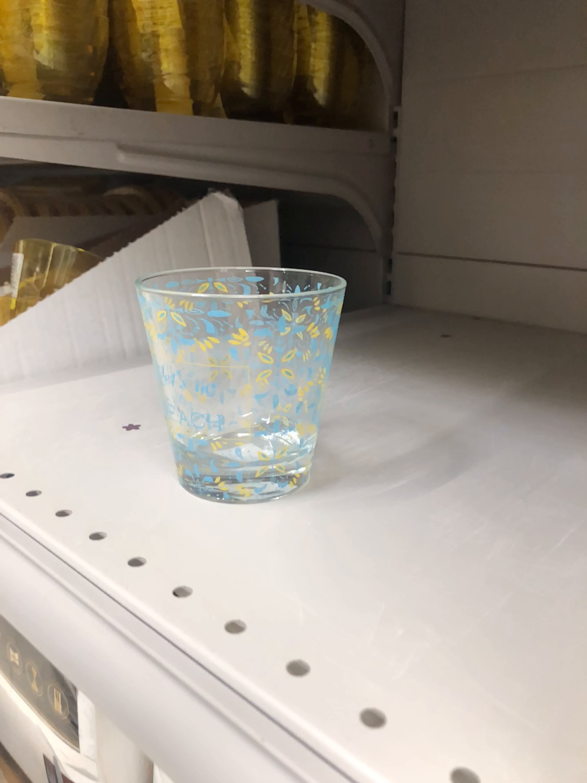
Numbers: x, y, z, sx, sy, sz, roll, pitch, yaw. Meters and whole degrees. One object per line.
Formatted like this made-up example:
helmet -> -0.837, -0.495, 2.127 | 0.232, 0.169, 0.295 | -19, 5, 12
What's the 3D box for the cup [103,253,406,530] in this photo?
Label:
cup -> -0.013, -0.009, 0.273 | 0.088, 0.080, 0.084 | -1, 20, 0
